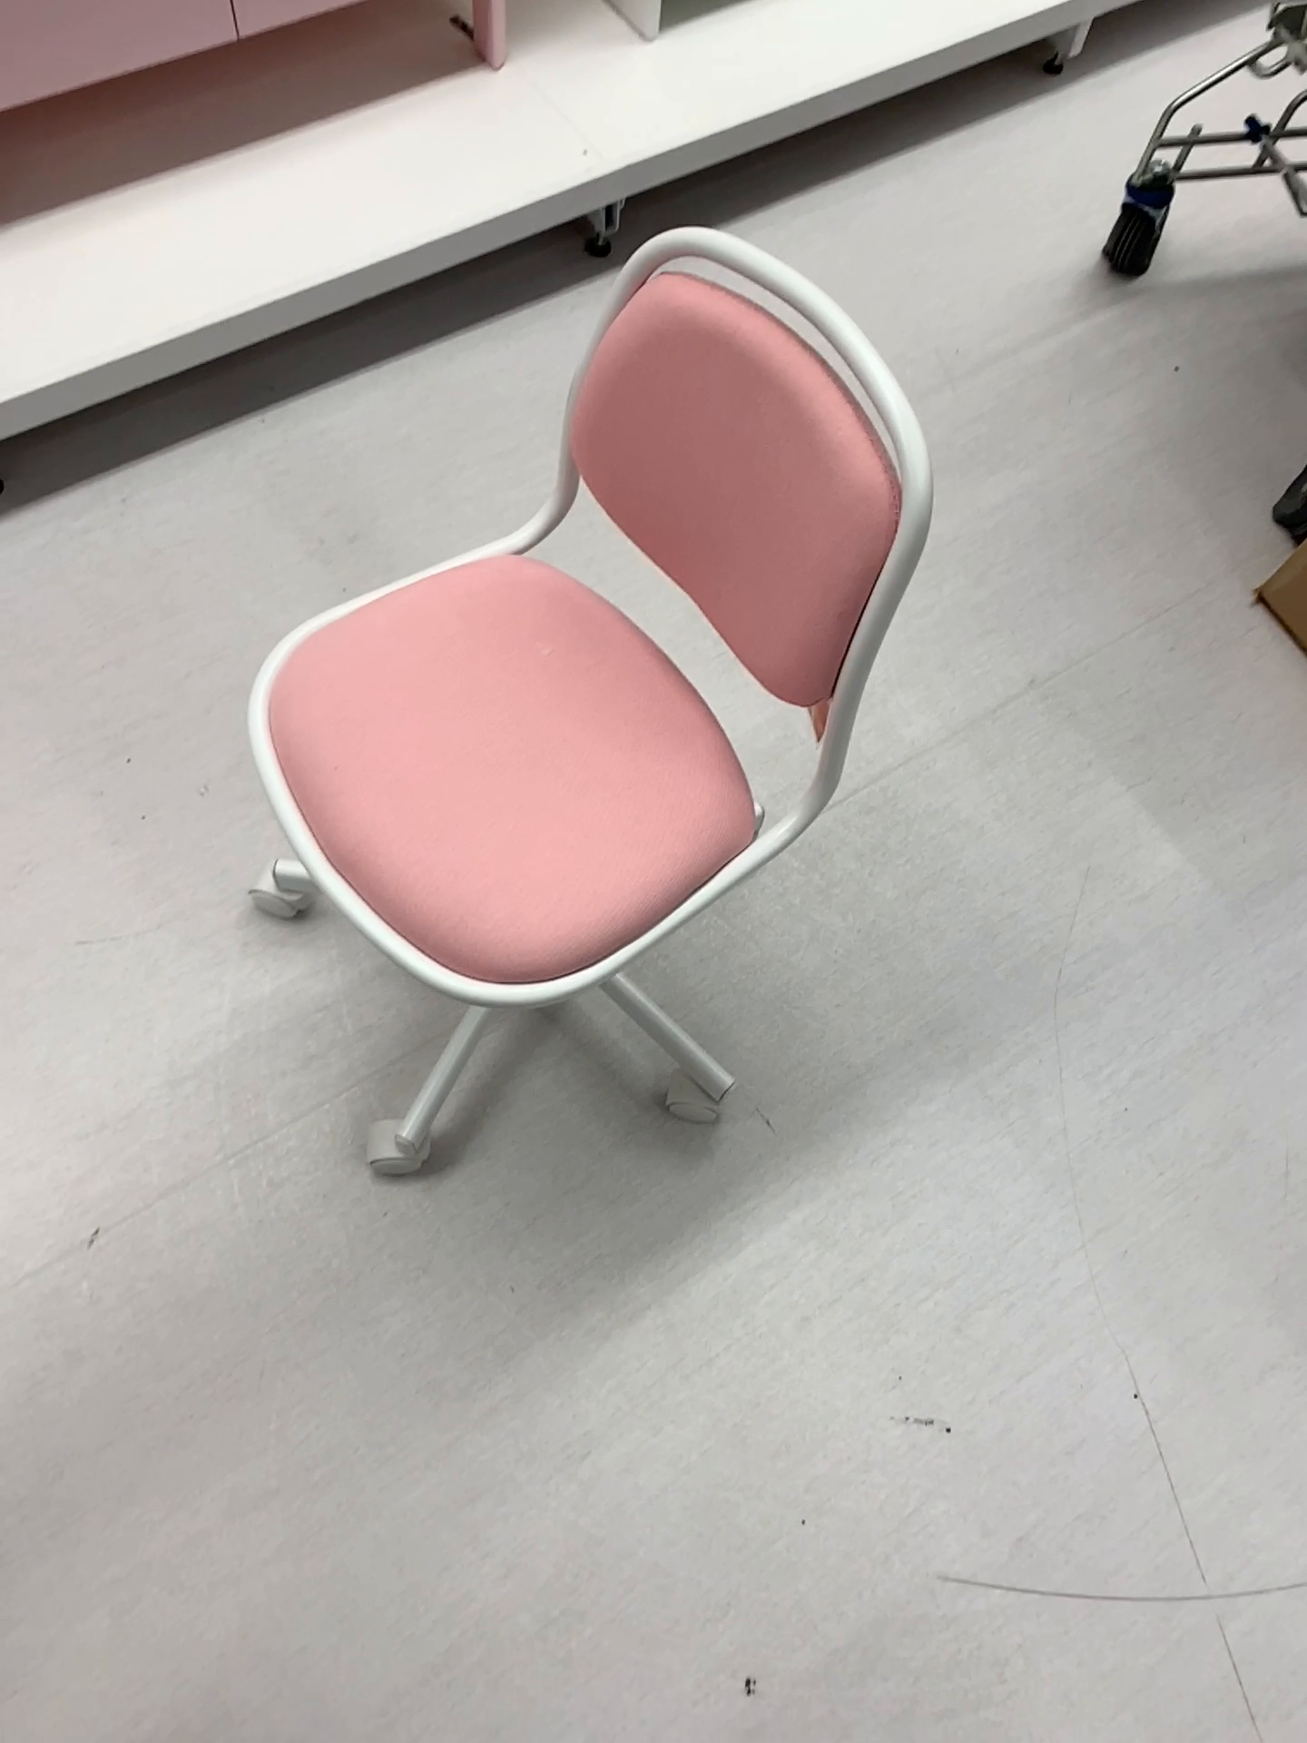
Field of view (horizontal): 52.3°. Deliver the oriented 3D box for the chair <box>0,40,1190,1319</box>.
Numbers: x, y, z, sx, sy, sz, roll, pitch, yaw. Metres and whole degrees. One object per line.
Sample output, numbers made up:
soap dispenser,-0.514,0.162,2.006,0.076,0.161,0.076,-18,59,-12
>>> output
chair,-0.104,-0.087,1.071,0.530,0.699,0.561,-32,71,-19
